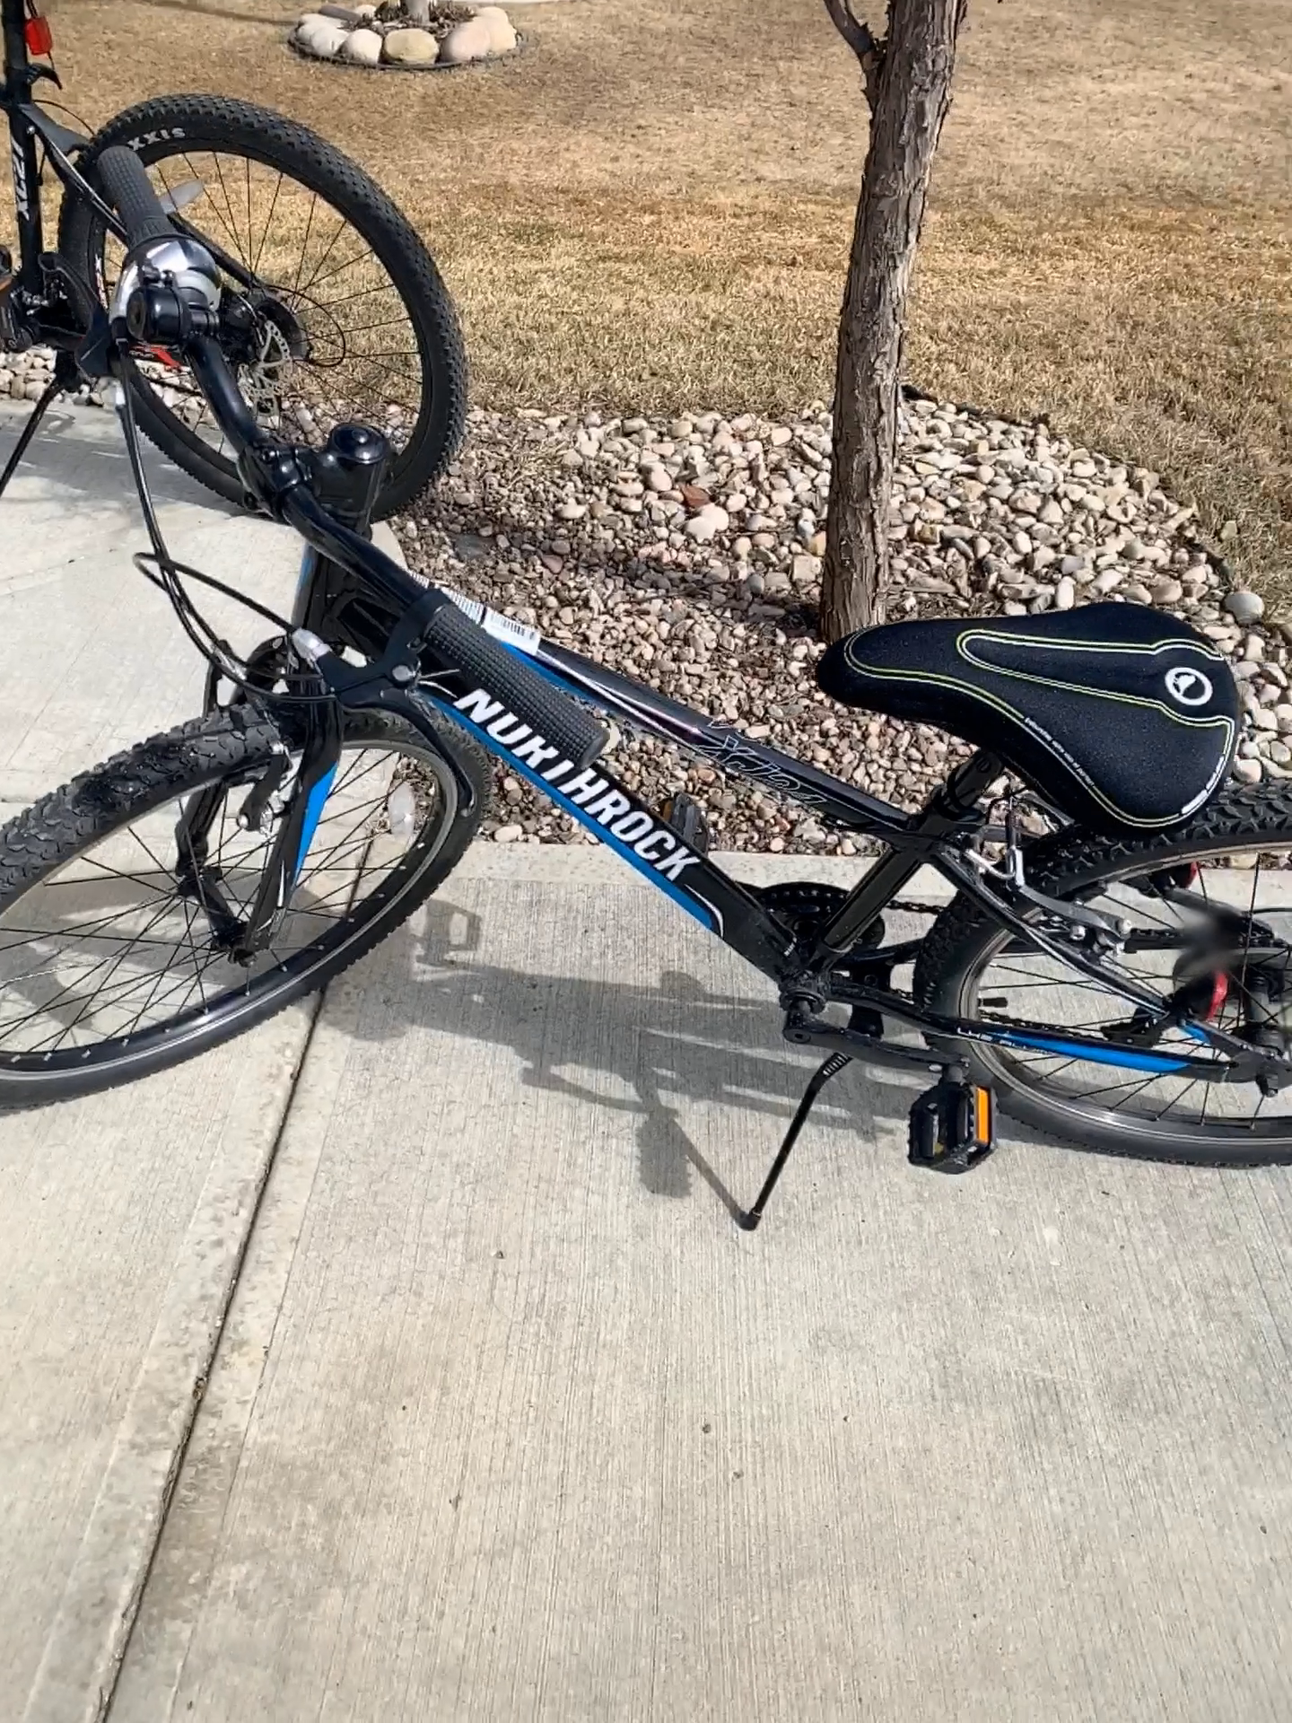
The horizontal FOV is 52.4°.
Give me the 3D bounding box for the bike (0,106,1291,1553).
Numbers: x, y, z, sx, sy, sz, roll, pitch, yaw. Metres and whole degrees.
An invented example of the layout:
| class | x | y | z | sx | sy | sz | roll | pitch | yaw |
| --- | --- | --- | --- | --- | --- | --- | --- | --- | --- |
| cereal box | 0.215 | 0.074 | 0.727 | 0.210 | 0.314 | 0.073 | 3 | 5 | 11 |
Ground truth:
| class | x | y | z | sx | sy | sz | roll | pitch | yaw |
| --- | --- | --- | --- | --- | --- | --- | --- | --- | --- |
| bike | 0.053 | 0.072 | 1.002 | 1.389 | 0.885 | 0.517 | -2 | 41 | 6 |
